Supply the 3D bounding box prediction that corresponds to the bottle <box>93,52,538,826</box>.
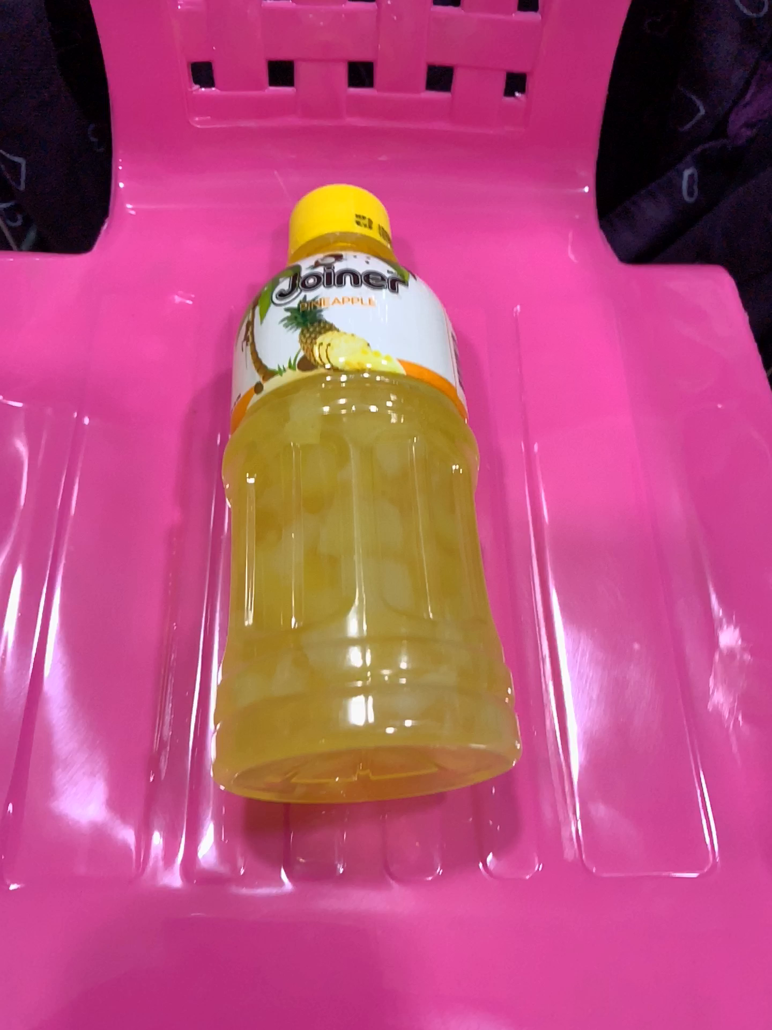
[{"bbox_3d":[-0.013,-0.017,0.187,0.070,0.060,0.160,-9,66,12],"label":"bottle"}]
